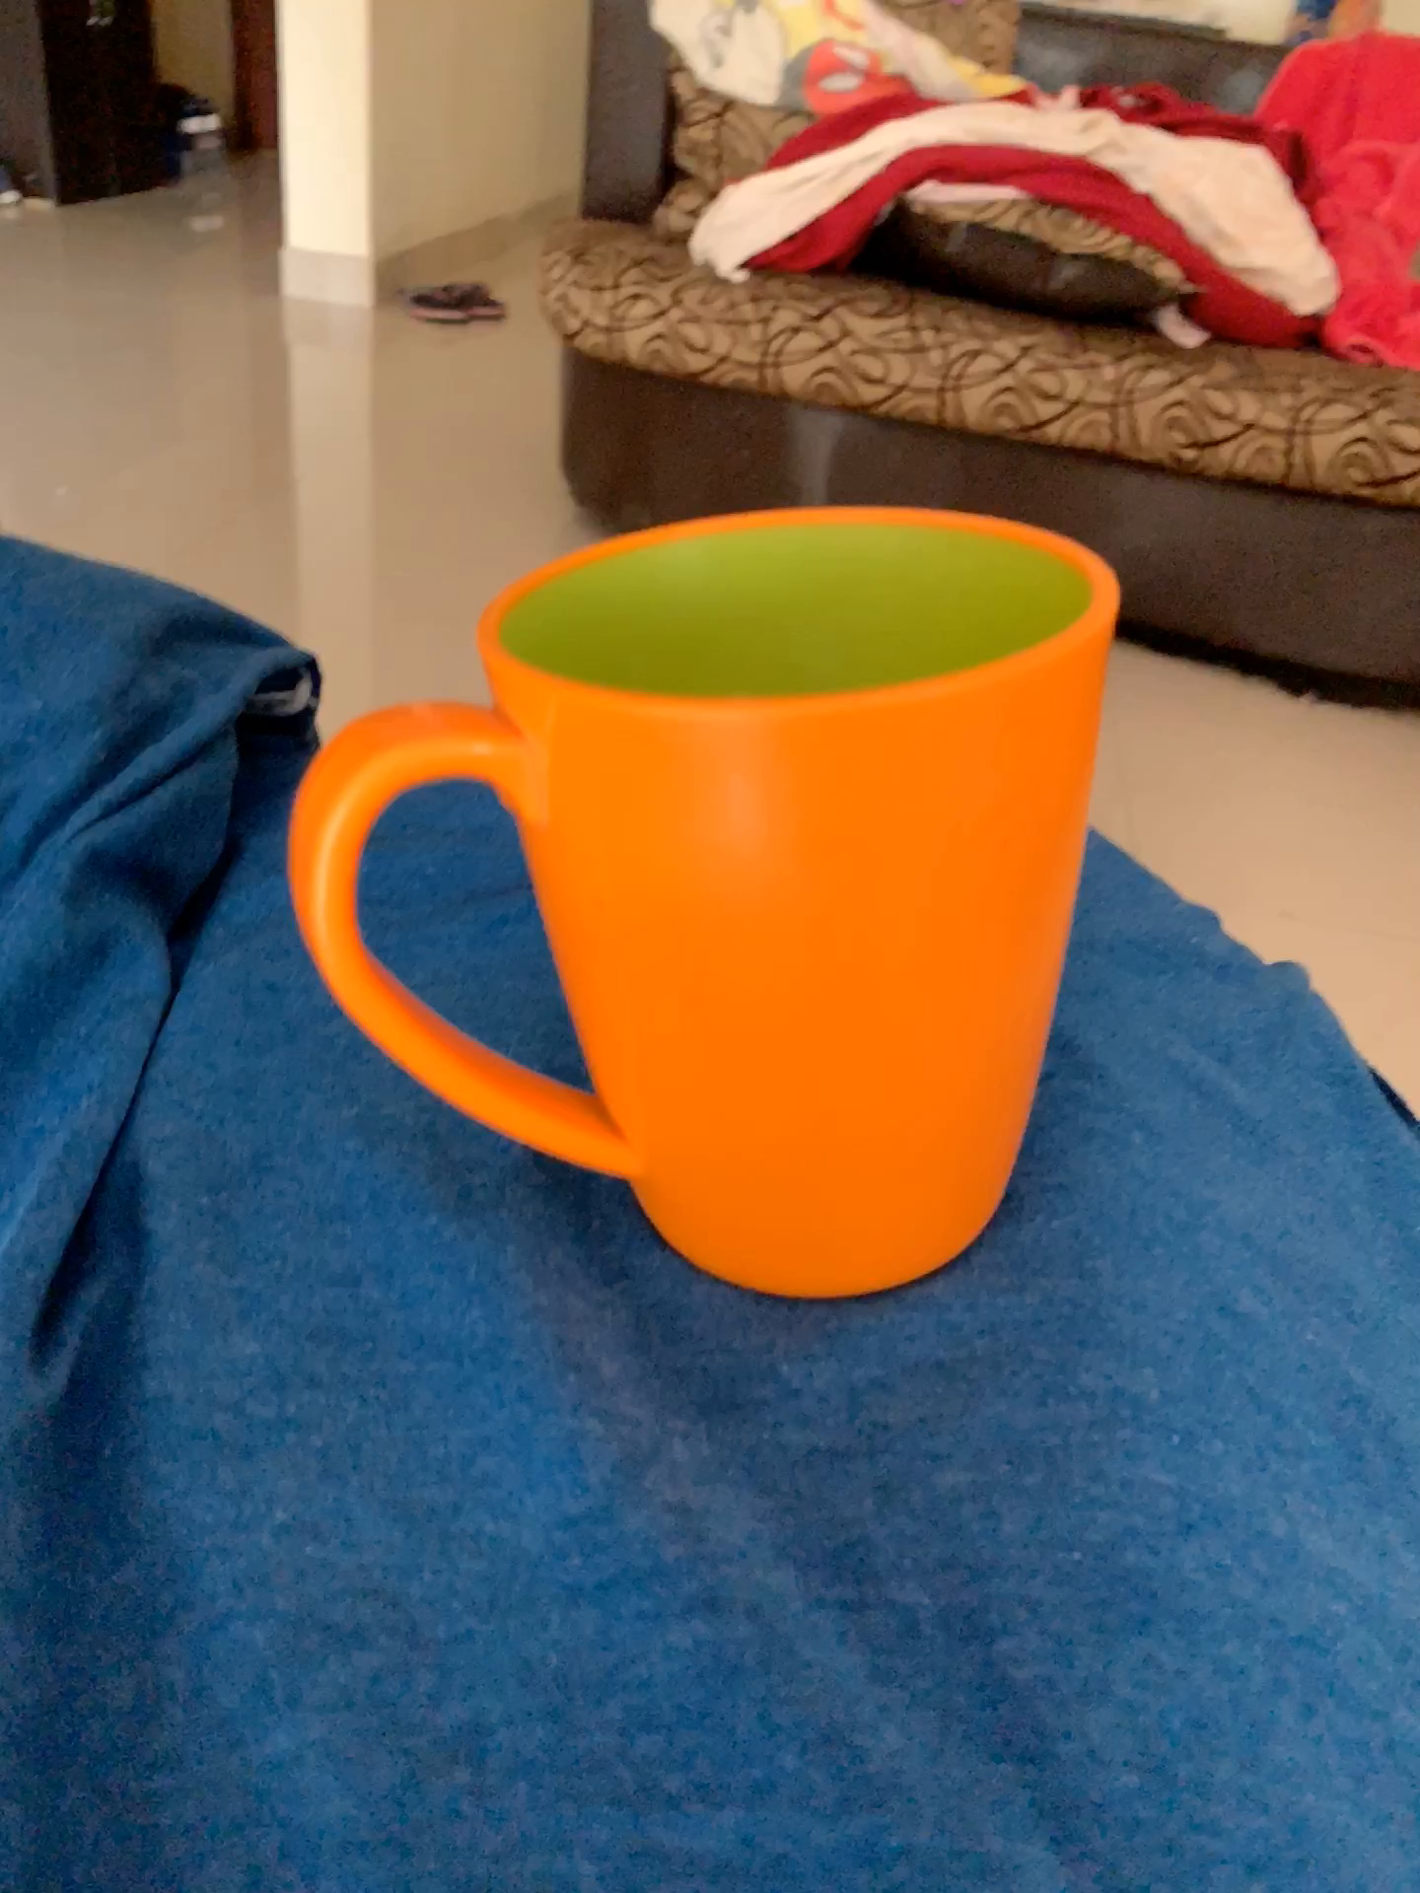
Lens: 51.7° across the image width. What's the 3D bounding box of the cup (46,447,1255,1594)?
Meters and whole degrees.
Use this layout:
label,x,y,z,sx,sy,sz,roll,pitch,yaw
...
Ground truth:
label,x,y,z,sx,sy,sz,roll,pitch,yaw
cup,-0.004,-0.007,0.207,0.120,0.089,0.100,-28,33,-28
